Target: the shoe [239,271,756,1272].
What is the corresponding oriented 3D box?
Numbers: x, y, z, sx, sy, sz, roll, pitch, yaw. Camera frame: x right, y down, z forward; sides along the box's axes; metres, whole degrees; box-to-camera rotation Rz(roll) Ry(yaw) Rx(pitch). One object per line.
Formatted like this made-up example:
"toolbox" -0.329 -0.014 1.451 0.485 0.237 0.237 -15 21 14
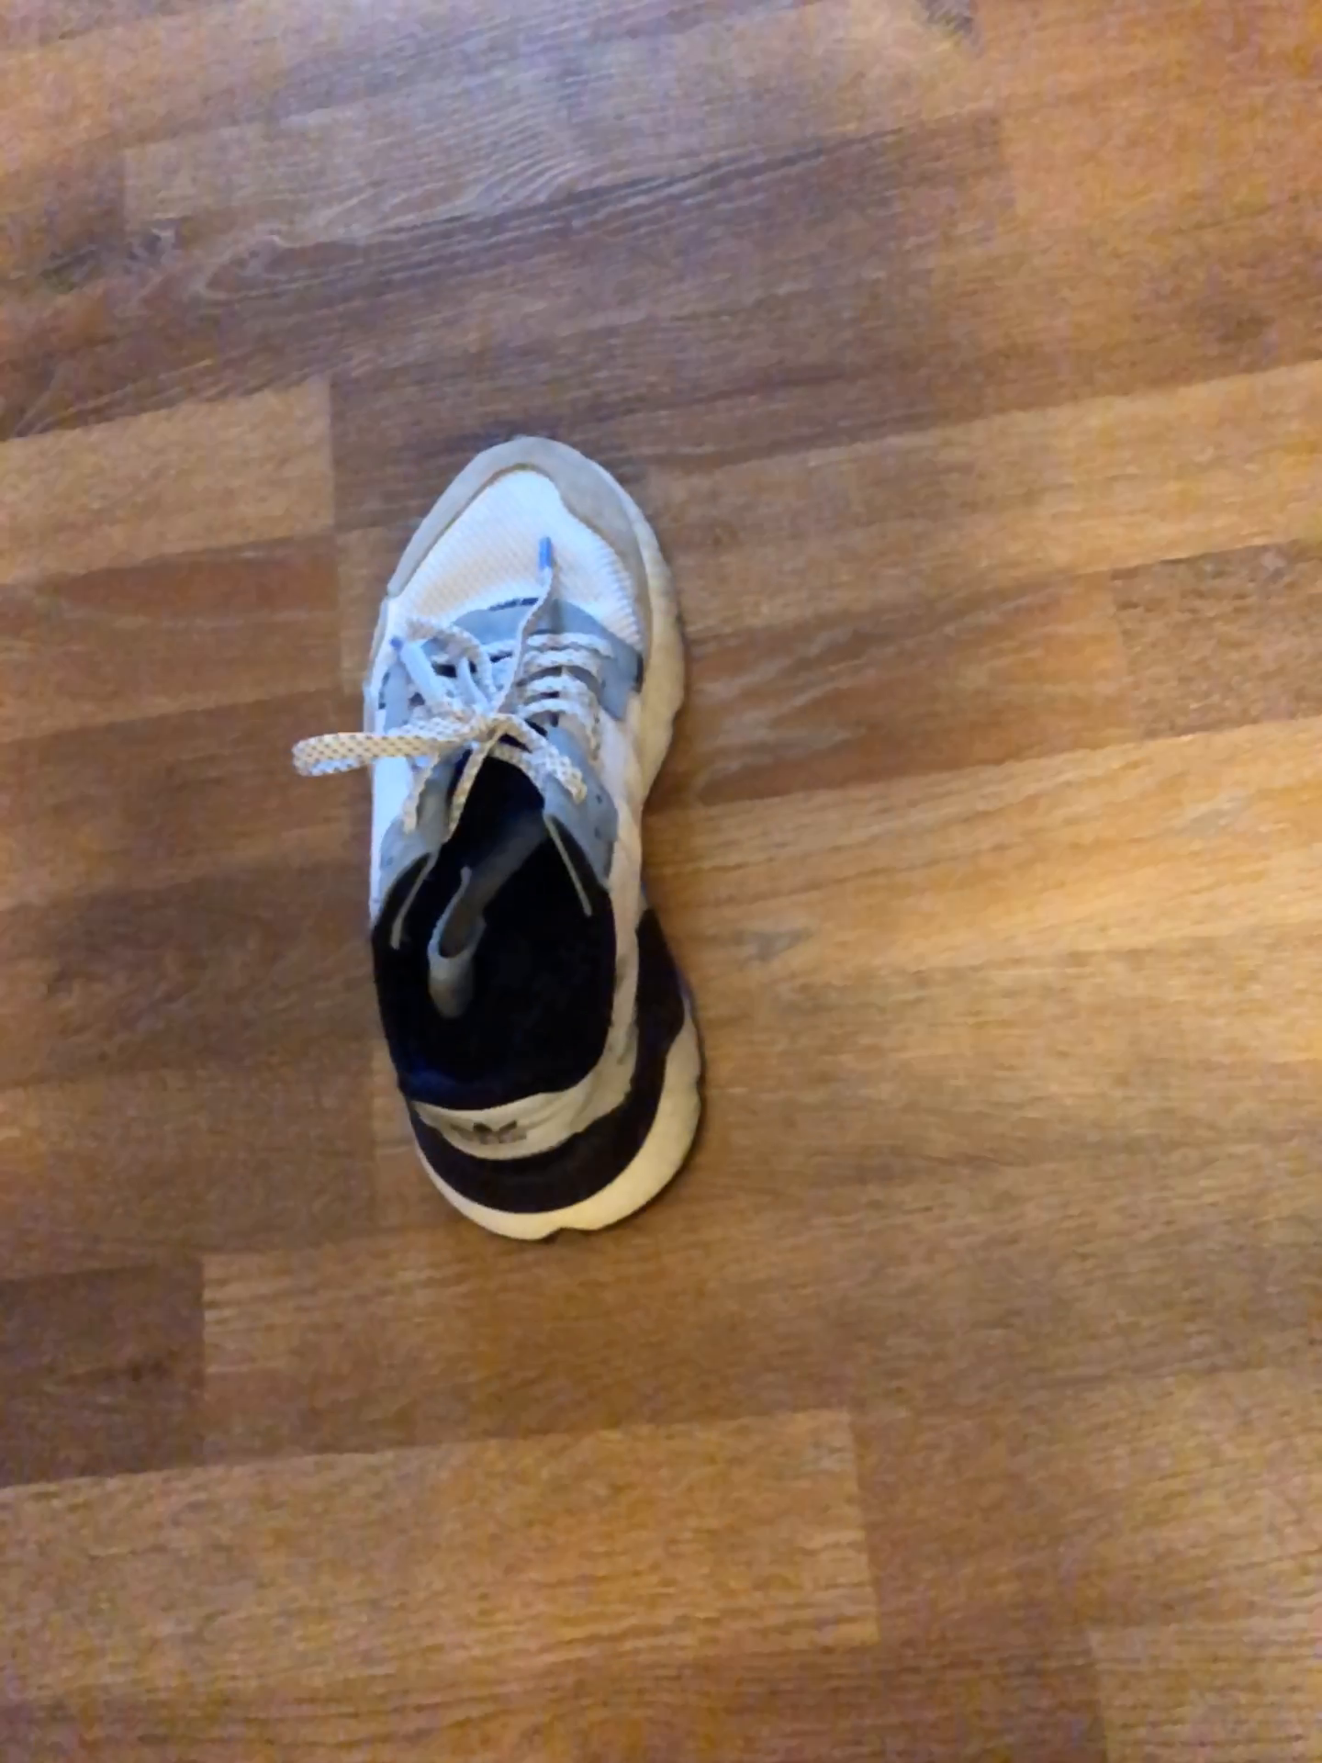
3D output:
"shoe" -0.049 -0.027 0.449 0.113 0.110 0.271 -8 73 6
